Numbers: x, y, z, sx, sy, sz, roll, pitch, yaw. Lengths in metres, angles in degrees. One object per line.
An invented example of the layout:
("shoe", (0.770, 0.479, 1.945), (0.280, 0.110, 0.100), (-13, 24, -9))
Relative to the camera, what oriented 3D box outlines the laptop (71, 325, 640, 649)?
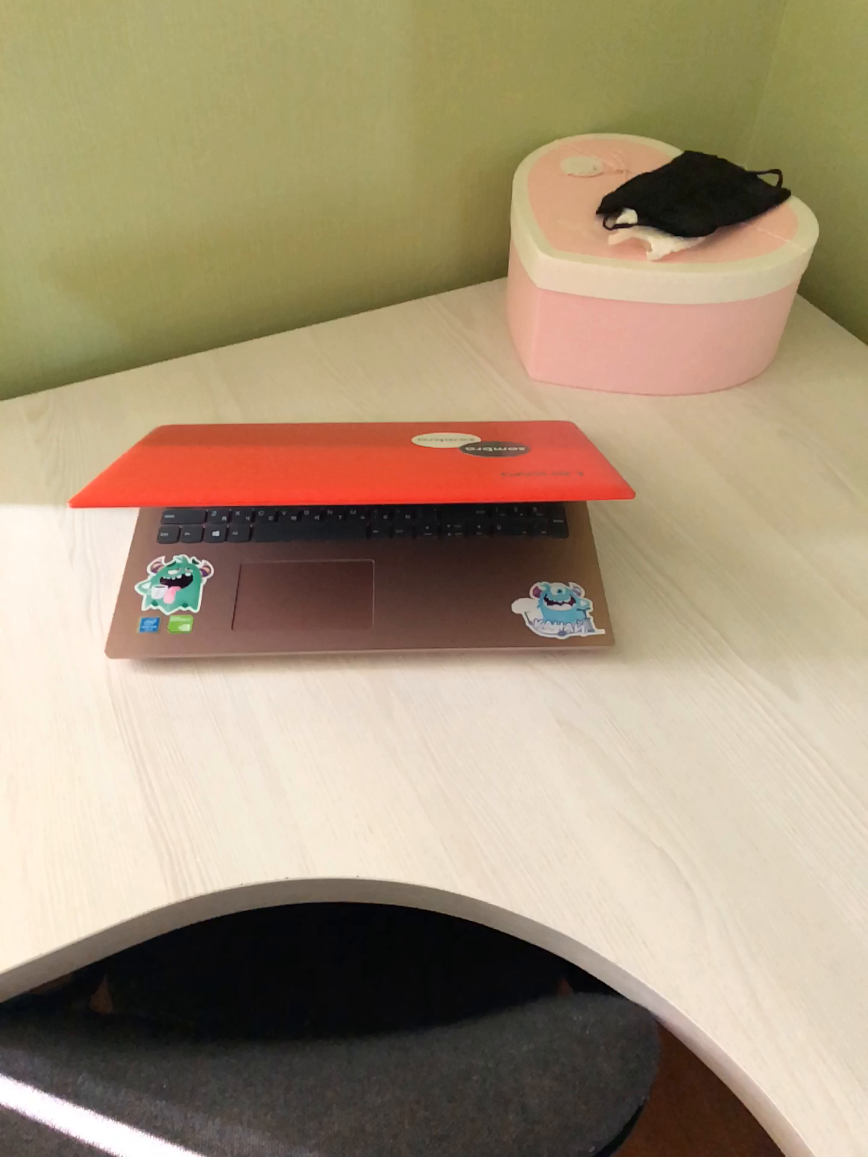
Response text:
("laptop", (-0.055, -0.077, 0.734), (0.366, 0.112, 0.233), (-1, 49, -2))
